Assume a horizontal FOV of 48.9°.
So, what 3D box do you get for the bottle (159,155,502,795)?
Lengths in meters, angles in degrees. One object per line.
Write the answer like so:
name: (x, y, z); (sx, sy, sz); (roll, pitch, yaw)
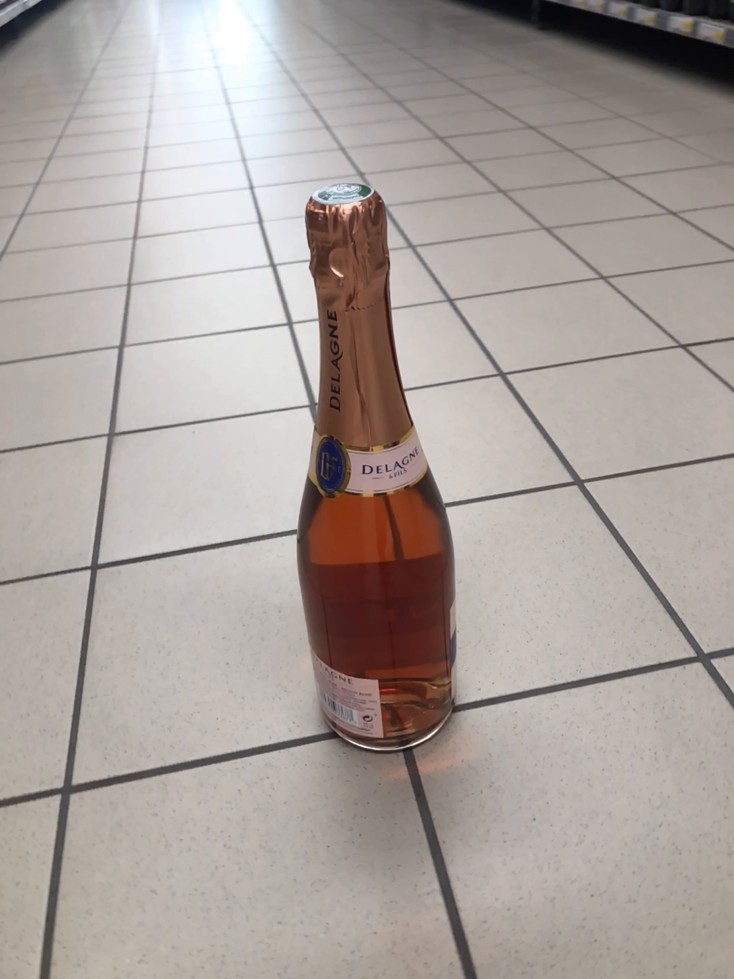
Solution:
bottle: (-0.006, 0.003, 0.397); (0.100, 0.288, 0.090); (27, 45, 37)
